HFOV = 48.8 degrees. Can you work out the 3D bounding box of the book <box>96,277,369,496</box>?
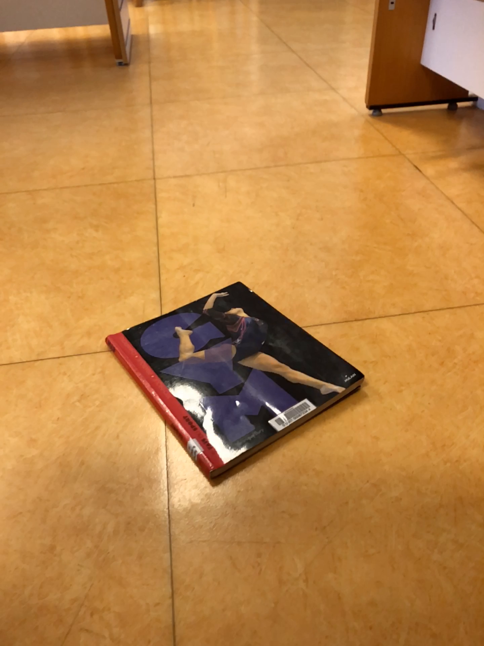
[{"bbox_3d":[-0.018,0.046,0.578,0.194,0.030,0.234,-25,43,-26],"label":"book"}]
